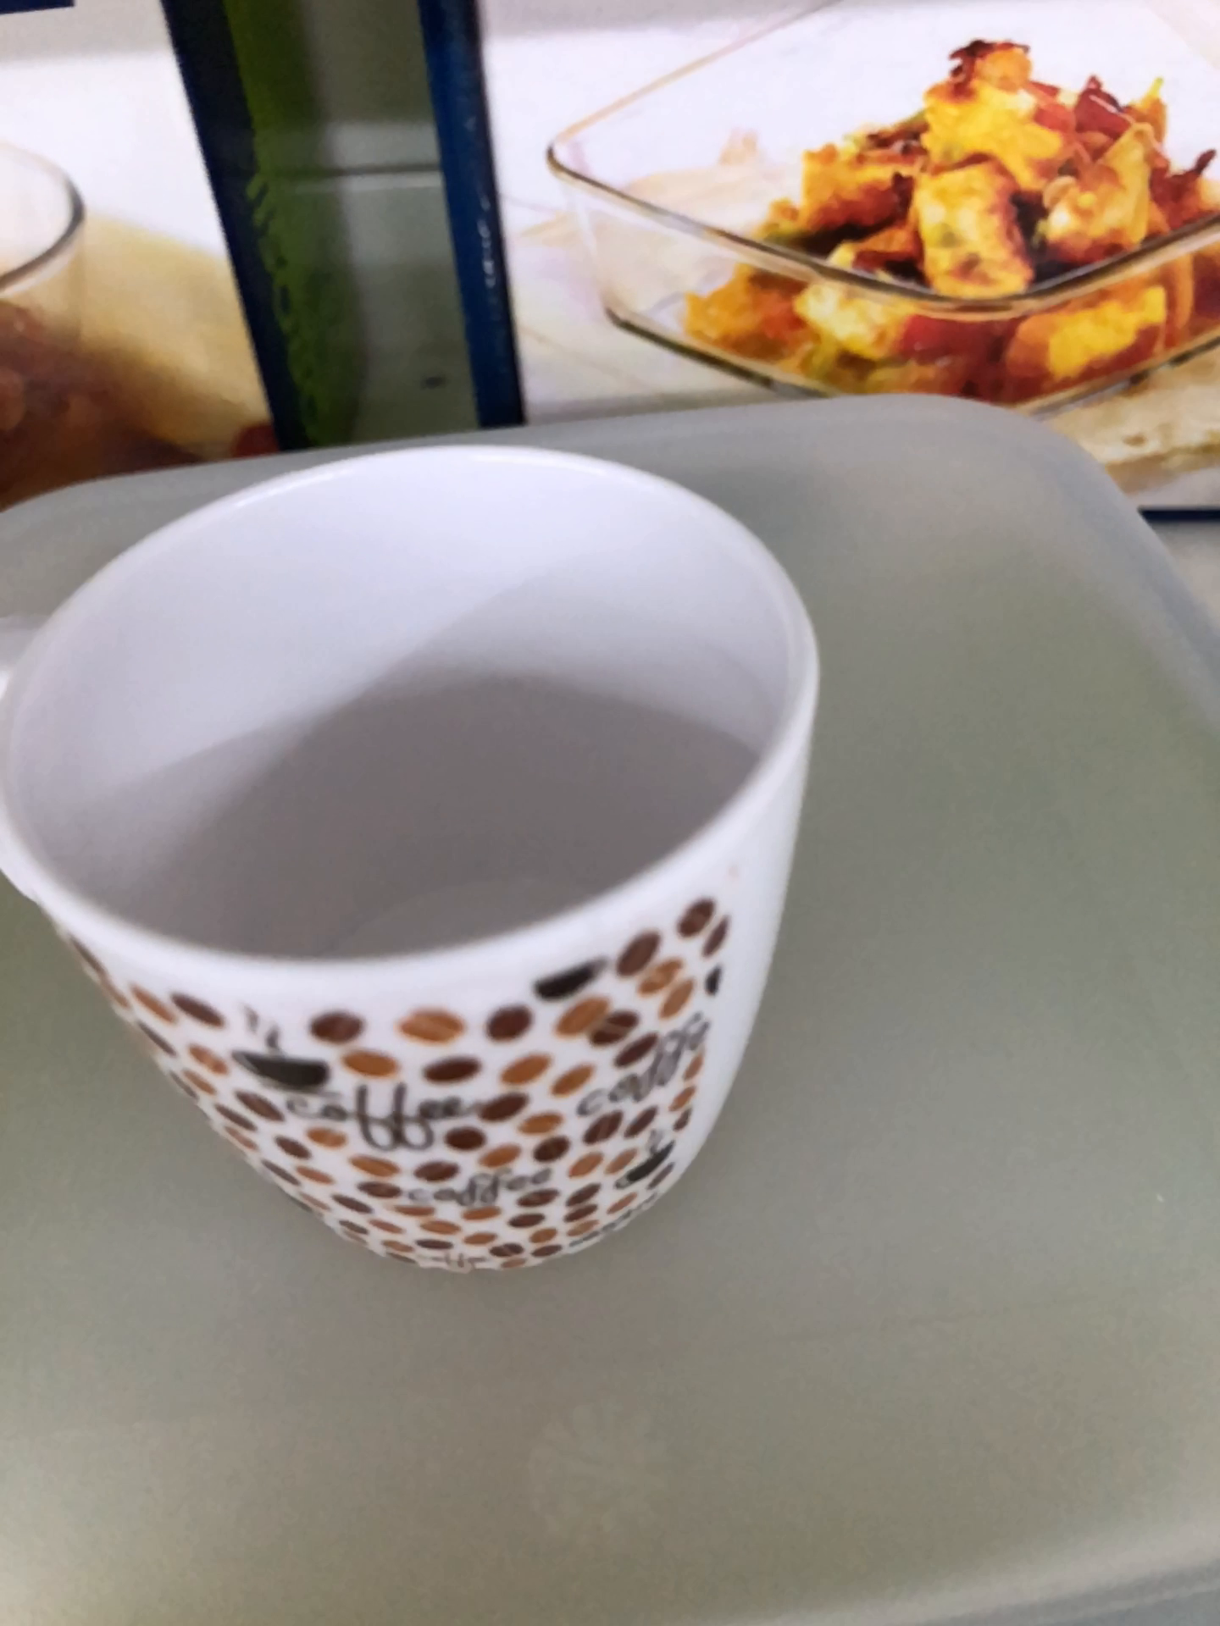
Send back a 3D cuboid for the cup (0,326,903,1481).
[{"bbox_3d":[-0.024,0.002,0.109,0.080,0.050,0.060,10,46,14],"label":"cup"}]
